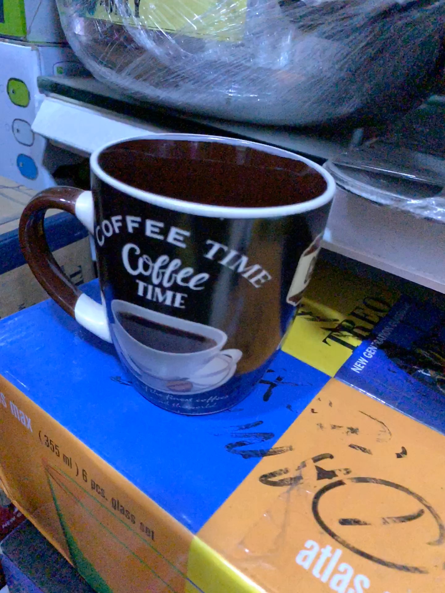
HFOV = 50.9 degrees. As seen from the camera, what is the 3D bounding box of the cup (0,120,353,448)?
[{"bbox_3d":[-0.018,-0.012,0.182,0.110,0.079,0.071,16,33,14],"label":"cup"}]
